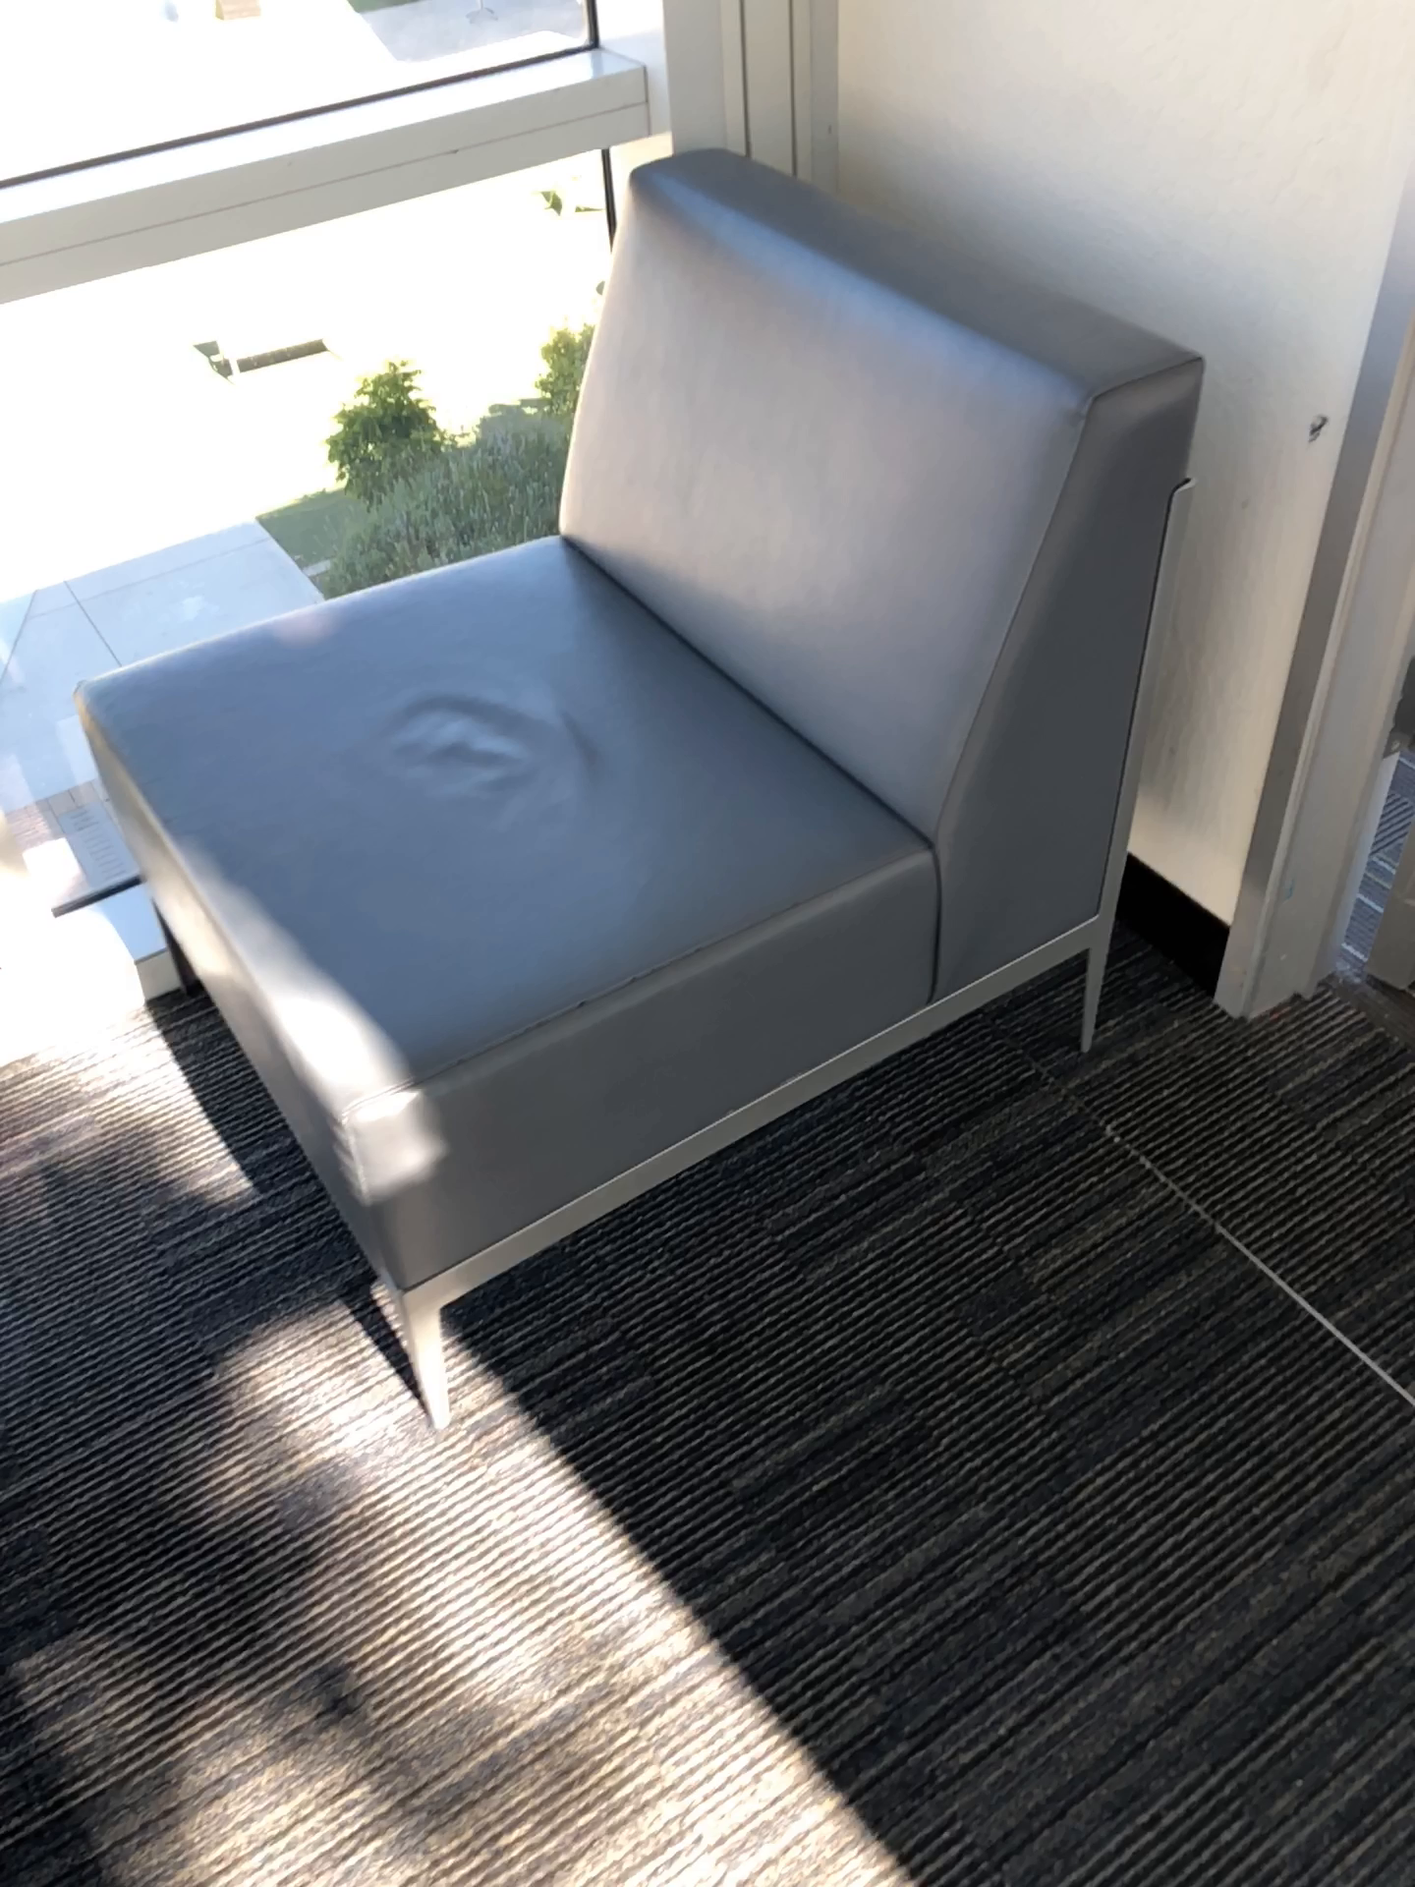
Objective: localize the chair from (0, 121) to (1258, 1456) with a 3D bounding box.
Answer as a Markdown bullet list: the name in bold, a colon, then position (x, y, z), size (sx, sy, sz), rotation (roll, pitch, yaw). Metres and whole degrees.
- **chair**: position (-0.124, -0.202, 1.418), size (0.750, 0.707, 0.773), rotation (-25, 46, -21)
